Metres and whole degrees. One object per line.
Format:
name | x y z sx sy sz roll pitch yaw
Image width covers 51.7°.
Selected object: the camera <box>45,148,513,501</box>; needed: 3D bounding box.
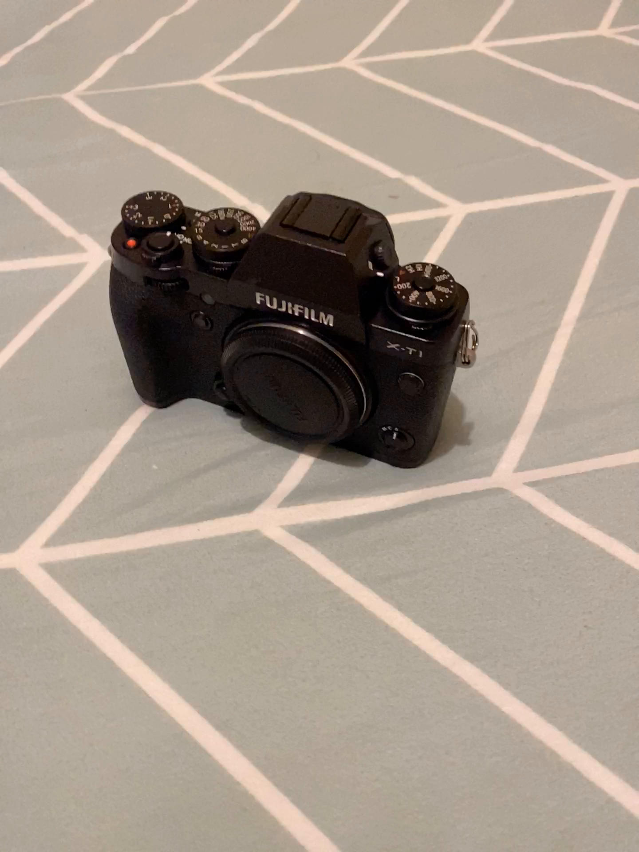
camera | -0.013 -0.038 0.246 0.142 0.082 0.054 17 54 13
